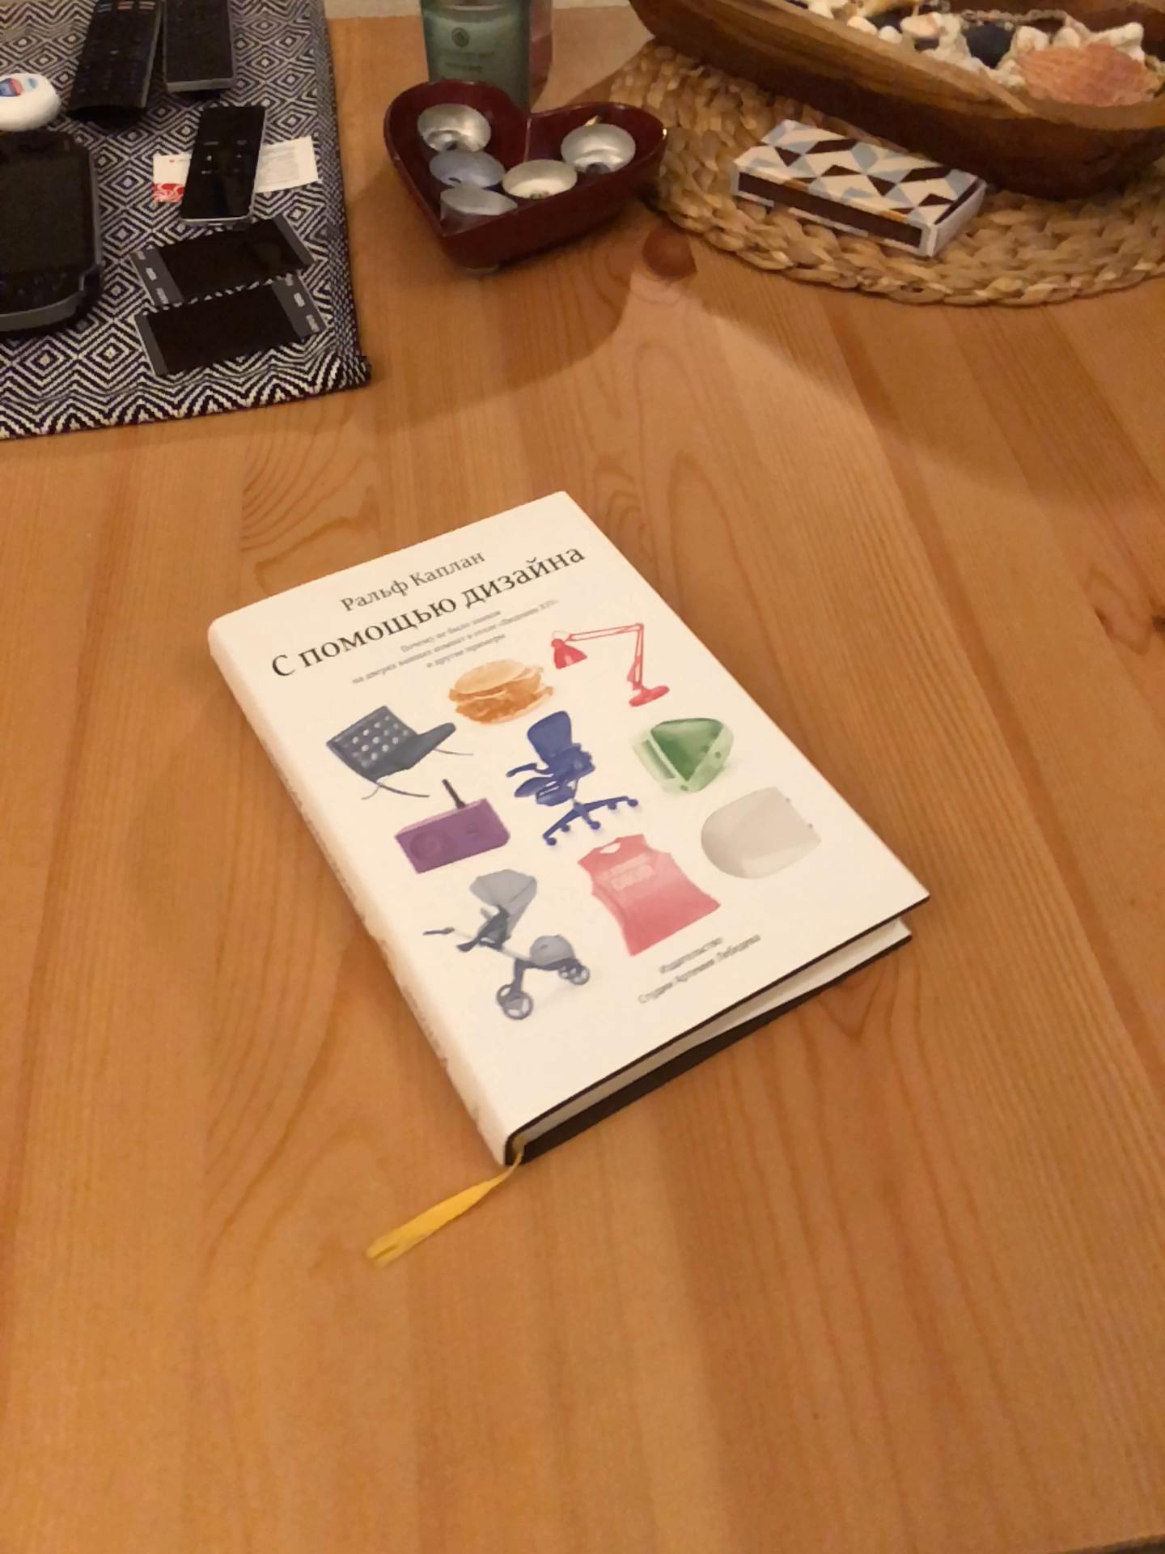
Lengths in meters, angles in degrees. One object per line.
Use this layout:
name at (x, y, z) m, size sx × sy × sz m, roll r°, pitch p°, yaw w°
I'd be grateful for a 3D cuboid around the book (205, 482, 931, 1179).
book at (-0.015, -0.001, 0.447) m, size 0.152 × 0.034 × 0.226 m, roll -25°, pitch 56°, yaw -19°
